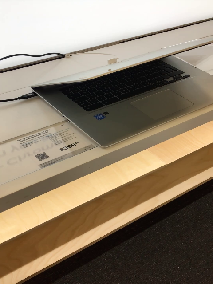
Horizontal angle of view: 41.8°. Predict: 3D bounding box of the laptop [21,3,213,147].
[{"bbox_3d":[0.078,-0.163,0.600,0.383,0.133,0.235,-25,55,-24],"label":"laptop"}]
